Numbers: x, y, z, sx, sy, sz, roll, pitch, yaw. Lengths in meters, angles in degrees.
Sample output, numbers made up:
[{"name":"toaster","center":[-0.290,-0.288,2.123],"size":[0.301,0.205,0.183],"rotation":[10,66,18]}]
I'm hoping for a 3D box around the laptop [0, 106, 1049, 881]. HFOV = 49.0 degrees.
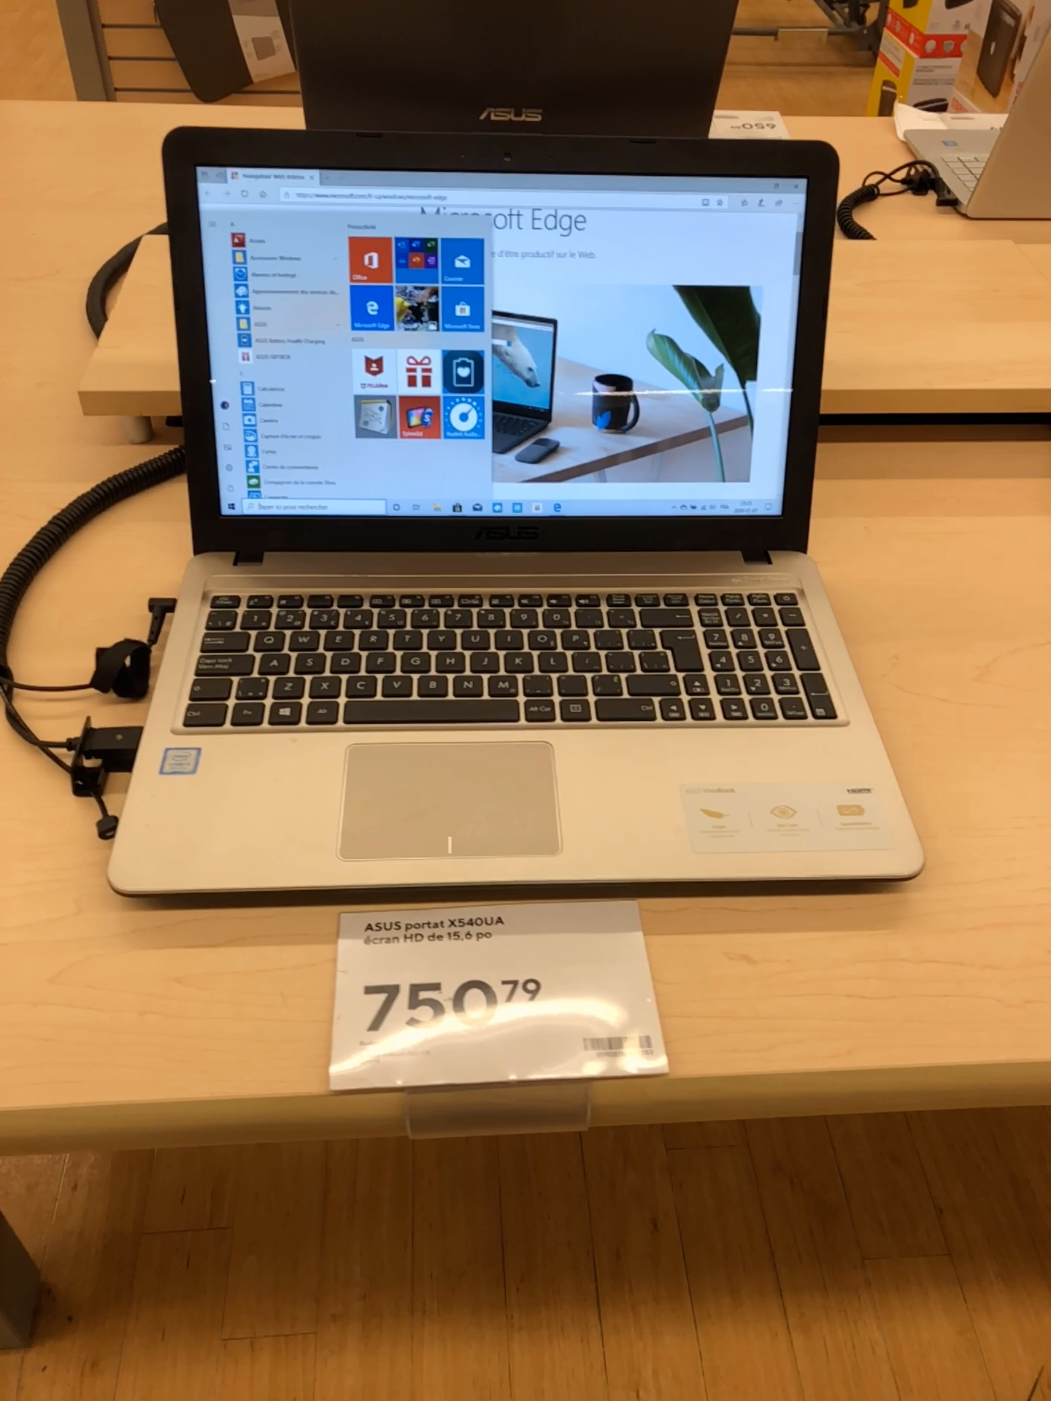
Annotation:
[{"name":"laptop","center":[-0.011,-0.125,0.611],"size":[0.383,0.215,0.361],"rotation":[-1,46,-5]}]
